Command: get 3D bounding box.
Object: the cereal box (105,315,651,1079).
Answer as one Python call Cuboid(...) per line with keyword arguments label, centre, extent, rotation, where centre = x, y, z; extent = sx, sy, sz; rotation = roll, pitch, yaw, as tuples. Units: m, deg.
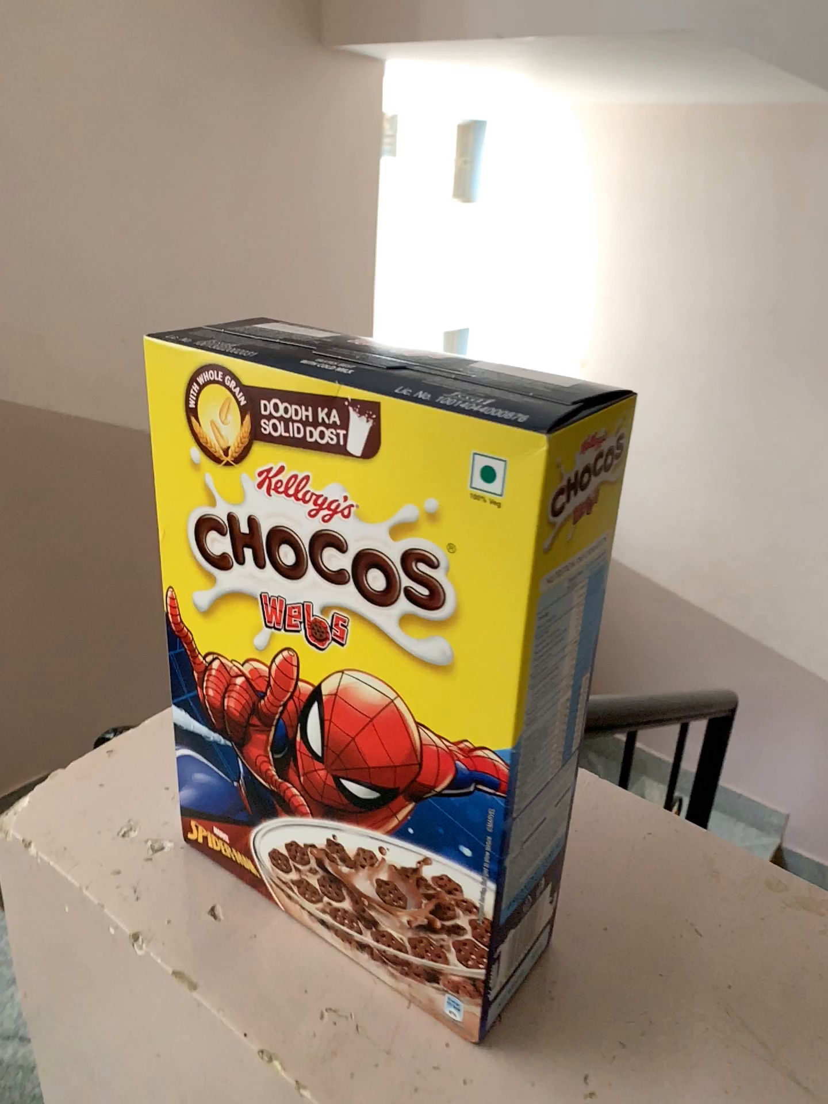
Cuboid(label="cereal box", centre=(-0.026, 0.046, 0.348), extent=(0.191, 0.248, 0.070), rotation=(19, 28, 33))
